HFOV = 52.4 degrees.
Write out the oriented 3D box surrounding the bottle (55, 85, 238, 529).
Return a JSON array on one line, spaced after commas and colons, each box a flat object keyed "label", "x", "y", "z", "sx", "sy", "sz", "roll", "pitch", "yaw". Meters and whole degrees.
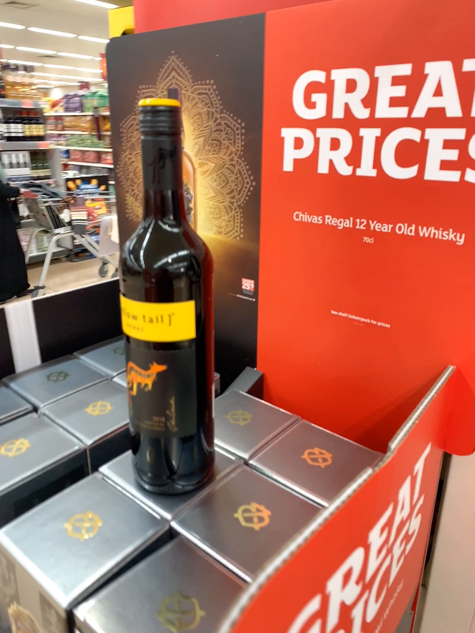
[{"label": "bottle", "x": -0.060, "y": -0.003, "z": 0.371, "sx": 0.087, "sy": 0.308, "sz": 0.081, "roll": 1, "pitch": 20, "yaw": 0}]
